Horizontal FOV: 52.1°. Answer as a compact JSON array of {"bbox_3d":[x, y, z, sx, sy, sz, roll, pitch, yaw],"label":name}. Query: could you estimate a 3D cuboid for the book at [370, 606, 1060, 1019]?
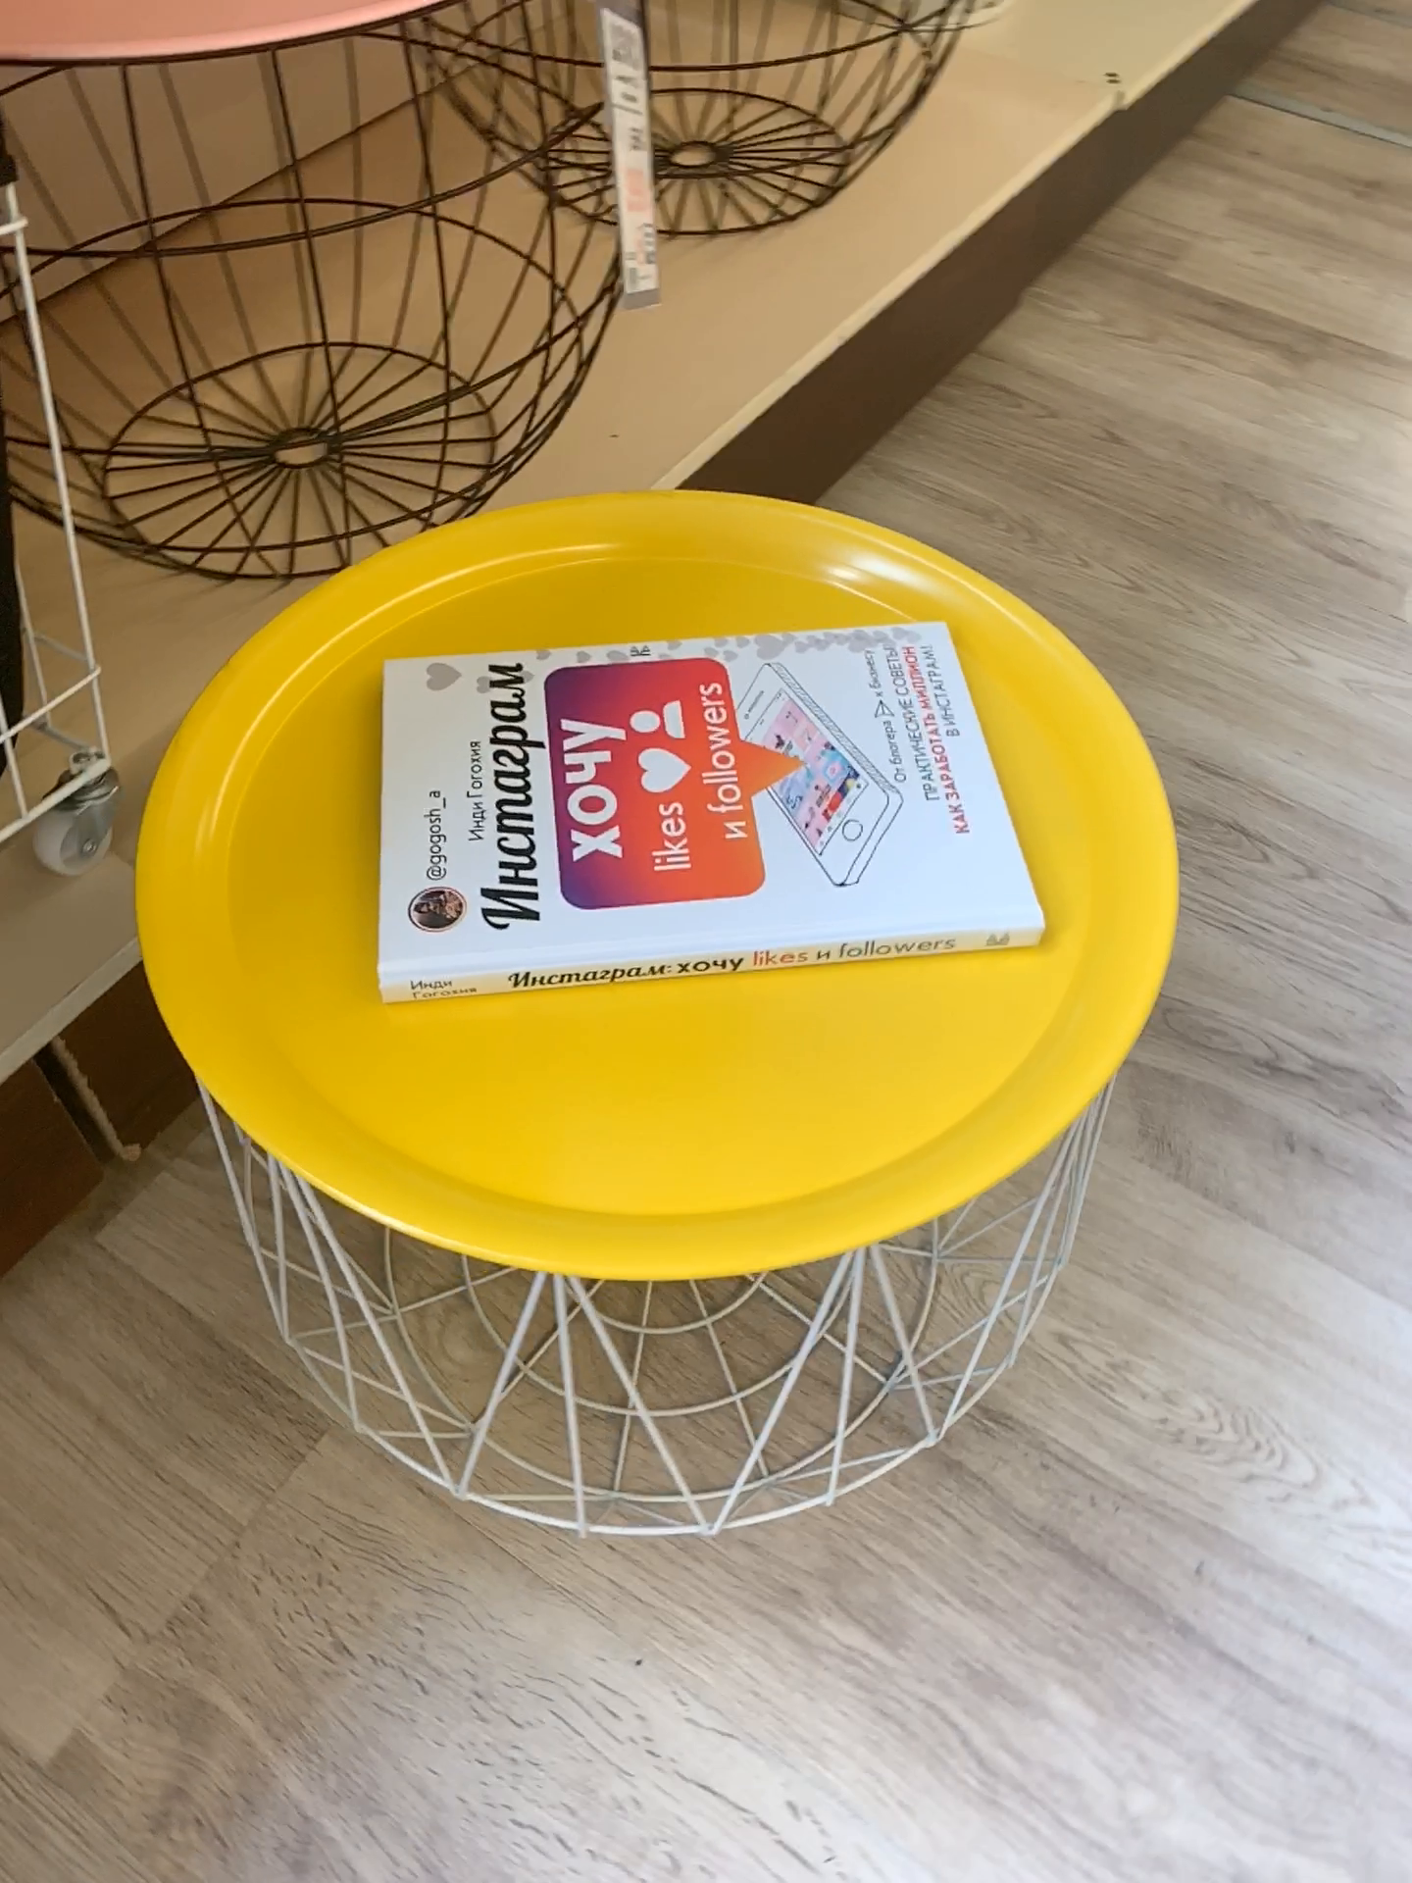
[{"bbox_3d":[-0.006,-0.057,0.556,0.240,0.020,0.171,-5,53,-6],"label":"book"}]
